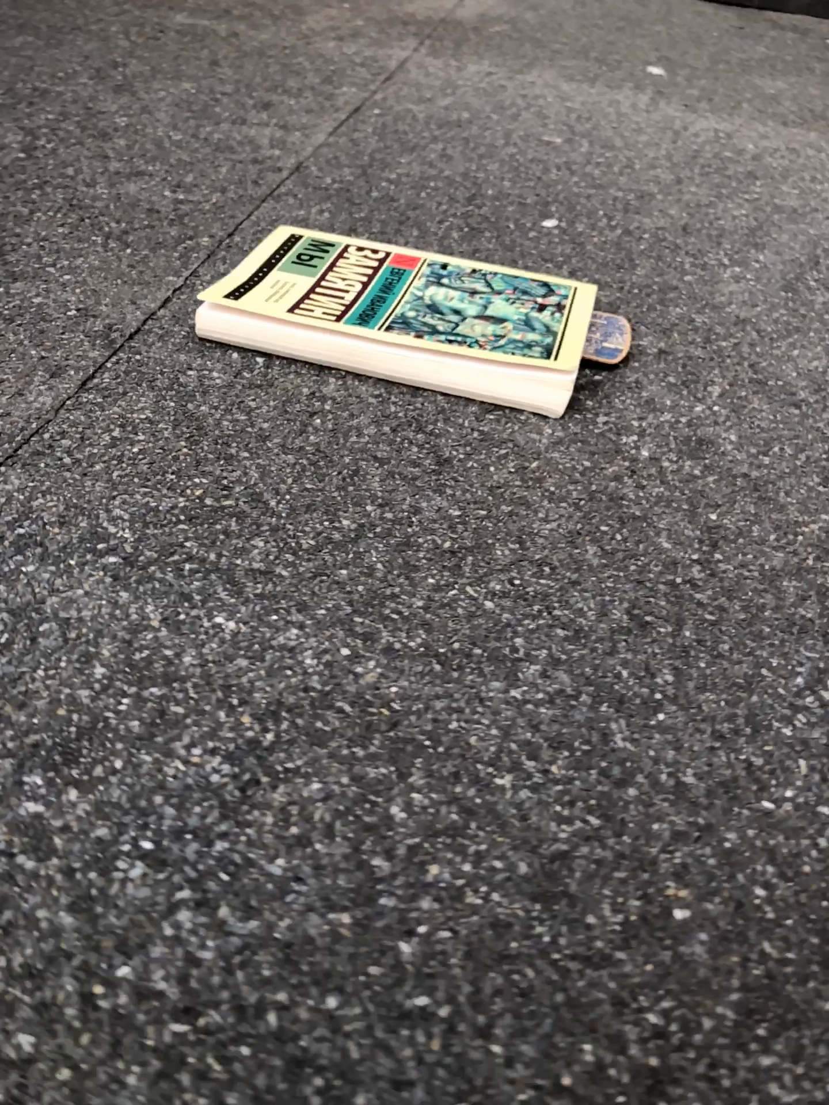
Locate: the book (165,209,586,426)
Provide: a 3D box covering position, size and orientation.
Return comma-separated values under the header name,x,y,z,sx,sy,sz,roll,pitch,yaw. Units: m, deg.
name,x,y,z,sx,sy,sz,roll,pitch,yaw
book,-0.012,-0.123,0.456,0.181,0.026,0.121,13,40,7
